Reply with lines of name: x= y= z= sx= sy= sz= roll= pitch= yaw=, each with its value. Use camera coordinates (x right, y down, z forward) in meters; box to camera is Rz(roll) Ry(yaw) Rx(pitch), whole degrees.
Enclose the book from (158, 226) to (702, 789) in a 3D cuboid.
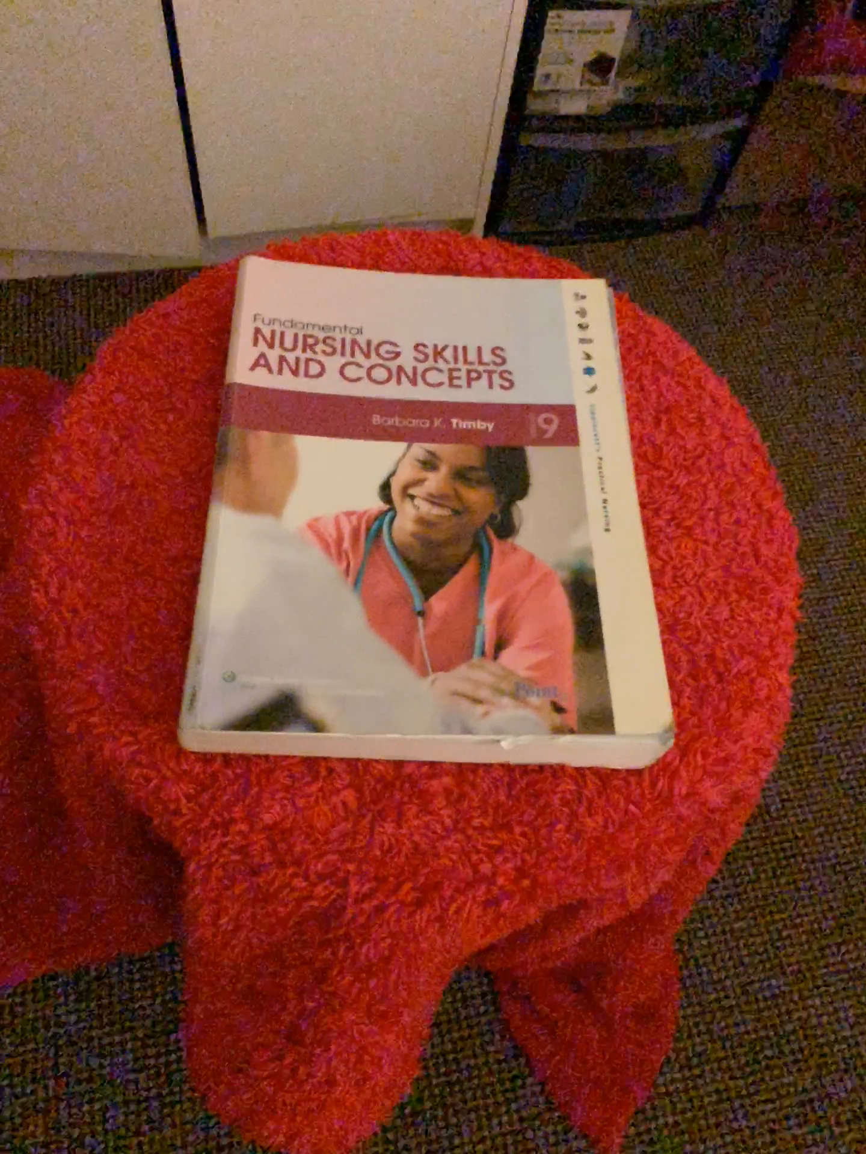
book: x=-0.002 y=-0.048 z=0.474 sx=0.230 sy=0.070 sz=0.302 roll=3 pitch=61 yaw=-5
